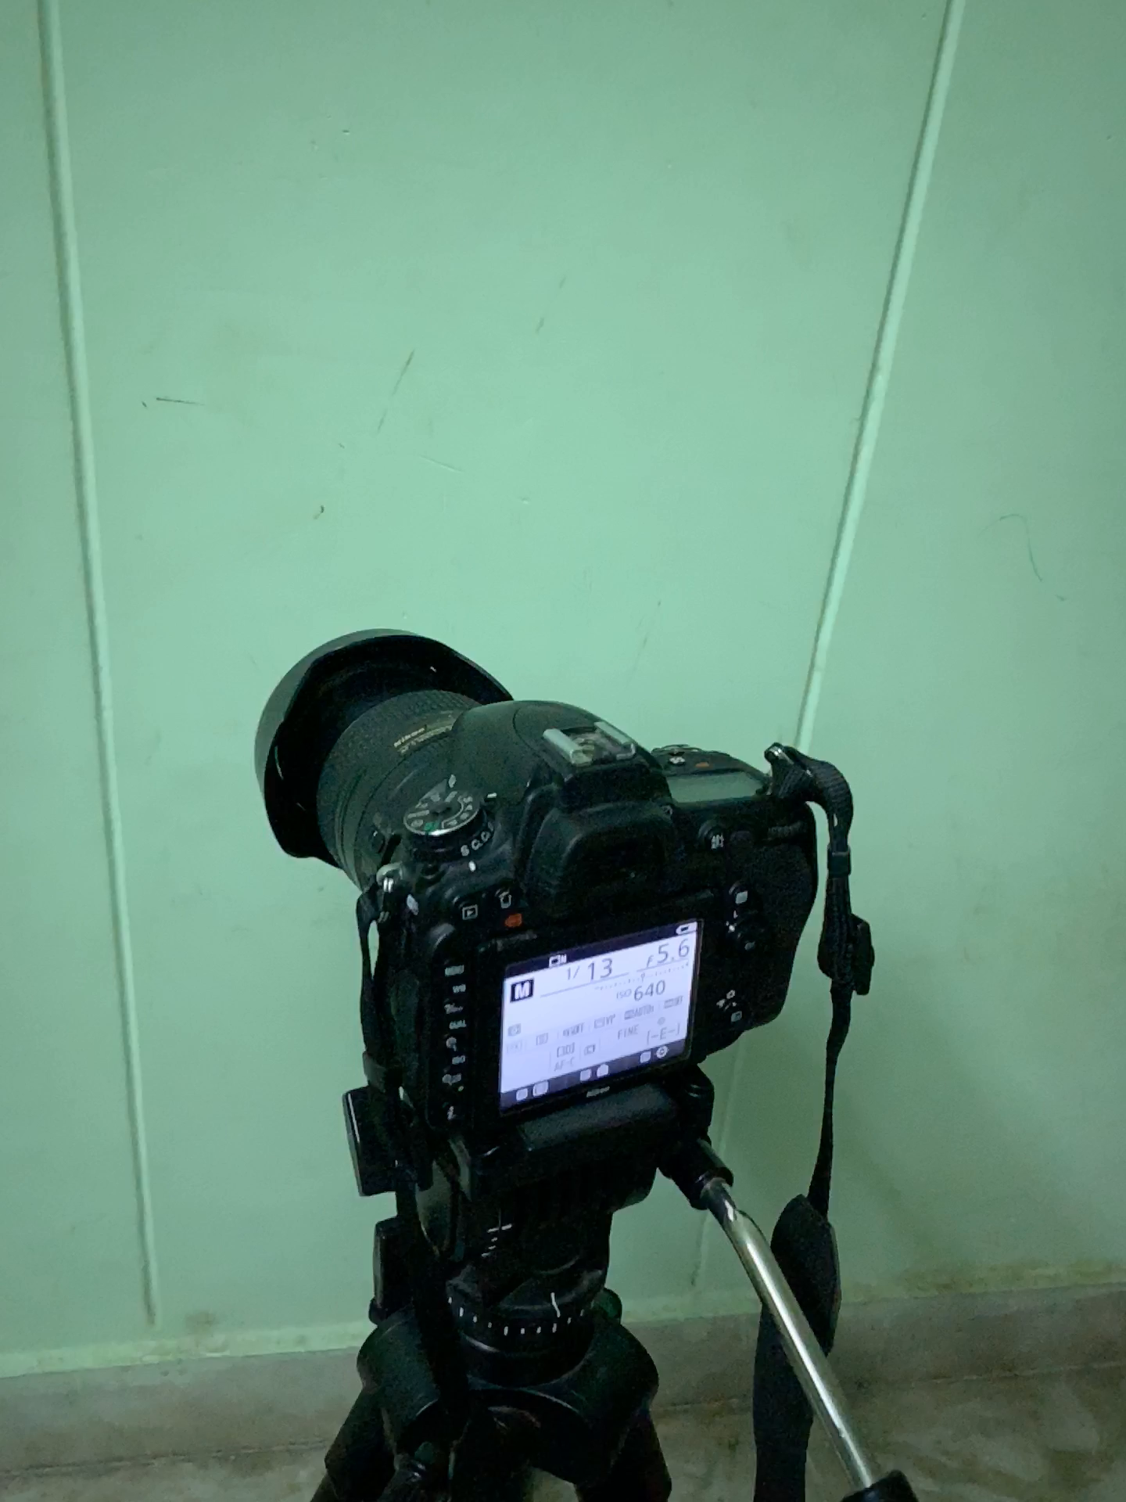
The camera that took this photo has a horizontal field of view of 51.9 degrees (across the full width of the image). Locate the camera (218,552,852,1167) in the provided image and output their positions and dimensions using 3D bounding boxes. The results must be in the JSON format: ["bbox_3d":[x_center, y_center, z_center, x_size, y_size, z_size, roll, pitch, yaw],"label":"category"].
[{"bbox_3d":[-0.025,0.017,0.406,0.140,0.117,0.182,-9,29,-29],"label":"camera"}]
